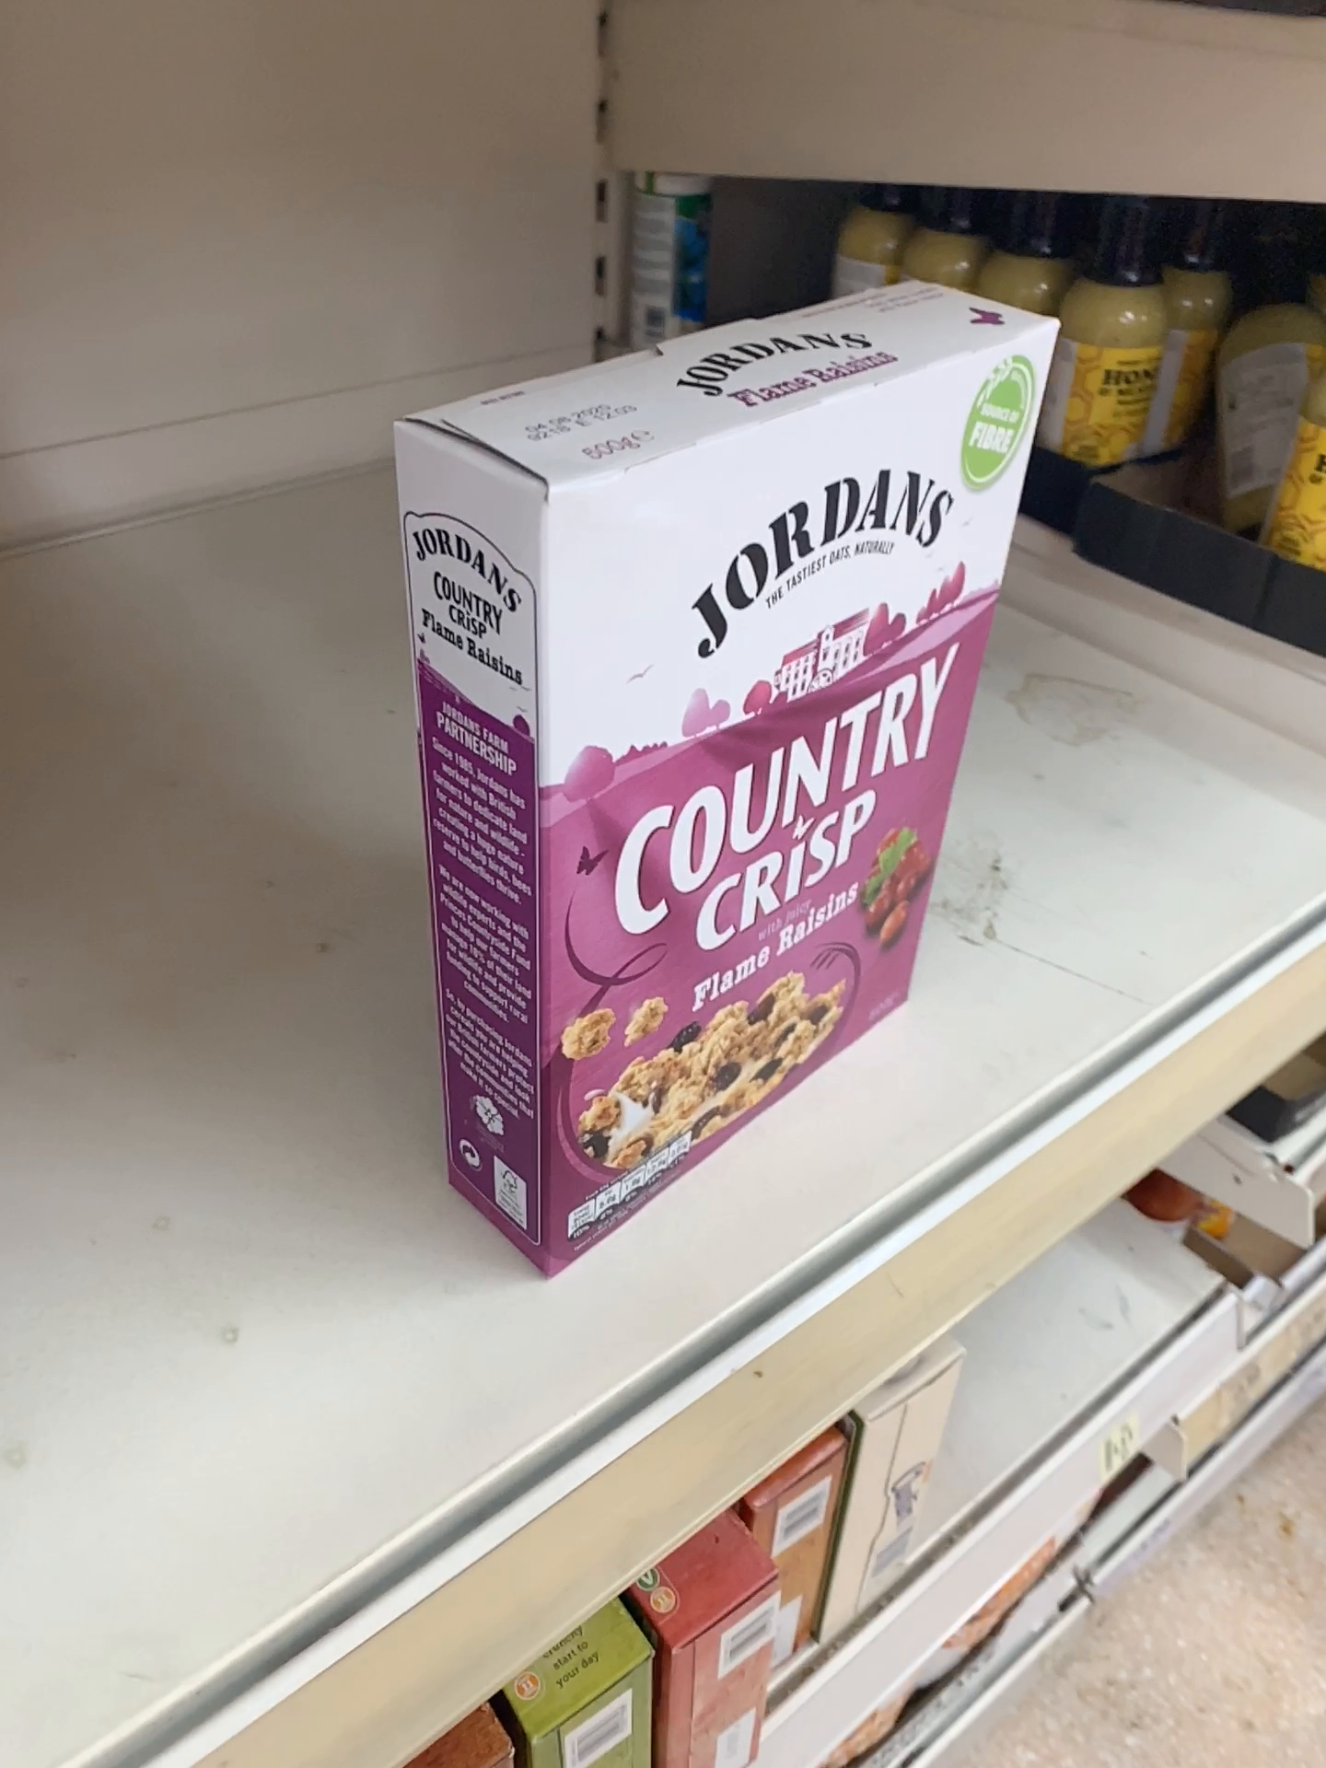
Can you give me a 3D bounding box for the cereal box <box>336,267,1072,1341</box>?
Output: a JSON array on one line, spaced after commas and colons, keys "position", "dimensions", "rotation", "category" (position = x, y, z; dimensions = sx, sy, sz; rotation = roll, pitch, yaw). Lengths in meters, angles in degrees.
[{"position": [0.017, -0.022, 0.397], "dimensions": [0.050, 0.258, 0.201], "rotation": [31, 45, 32], "category": "cereal box"}]
